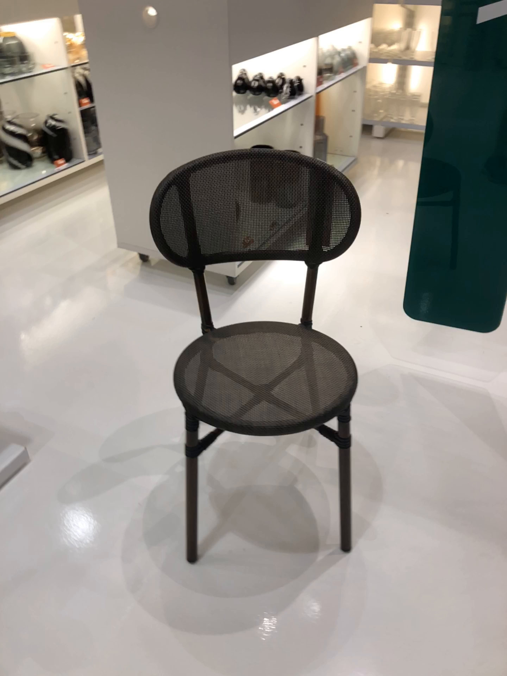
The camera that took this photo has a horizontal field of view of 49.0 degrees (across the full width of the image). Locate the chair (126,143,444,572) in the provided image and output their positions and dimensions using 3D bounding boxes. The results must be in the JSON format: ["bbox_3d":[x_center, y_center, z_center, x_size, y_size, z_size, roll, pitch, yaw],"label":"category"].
[{"bbox_3d":[0.030,0.033,1.260,0.470,0.764,0.554,-3,35,-4],"label":"chair"}]
